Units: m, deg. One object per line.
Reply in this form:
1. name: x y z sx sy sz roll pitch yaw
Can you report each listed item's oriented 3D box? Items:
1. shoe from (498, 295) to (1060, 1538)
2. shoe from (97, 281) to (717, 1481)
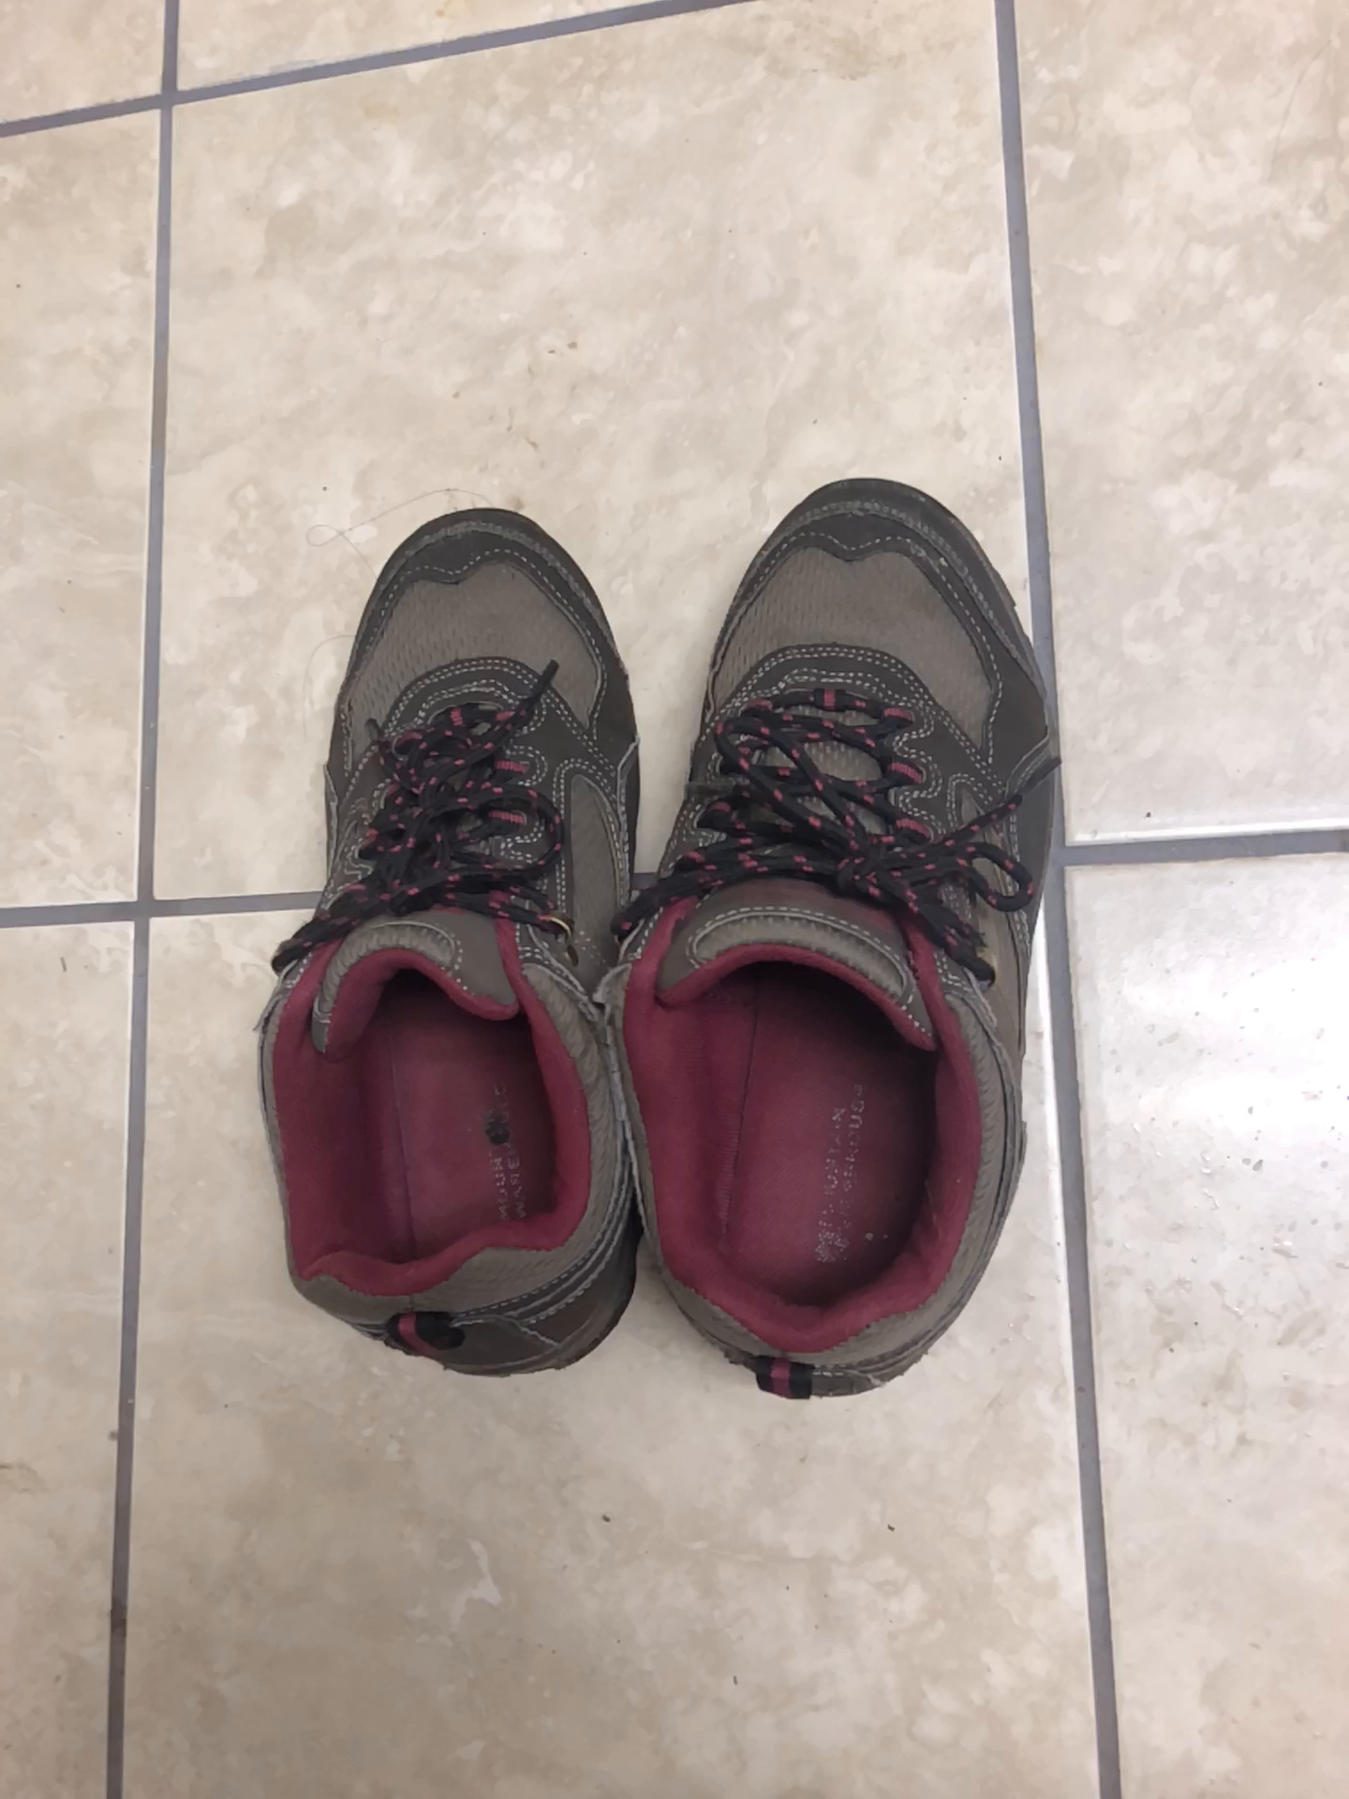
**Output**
1. shoe: 0.037 0.003 0.378 0.110 0.120 0.260 2 83 13
2. shoe: -0.061 -0.001 0.400 0.120 0.120 0.270 -3 82 13
